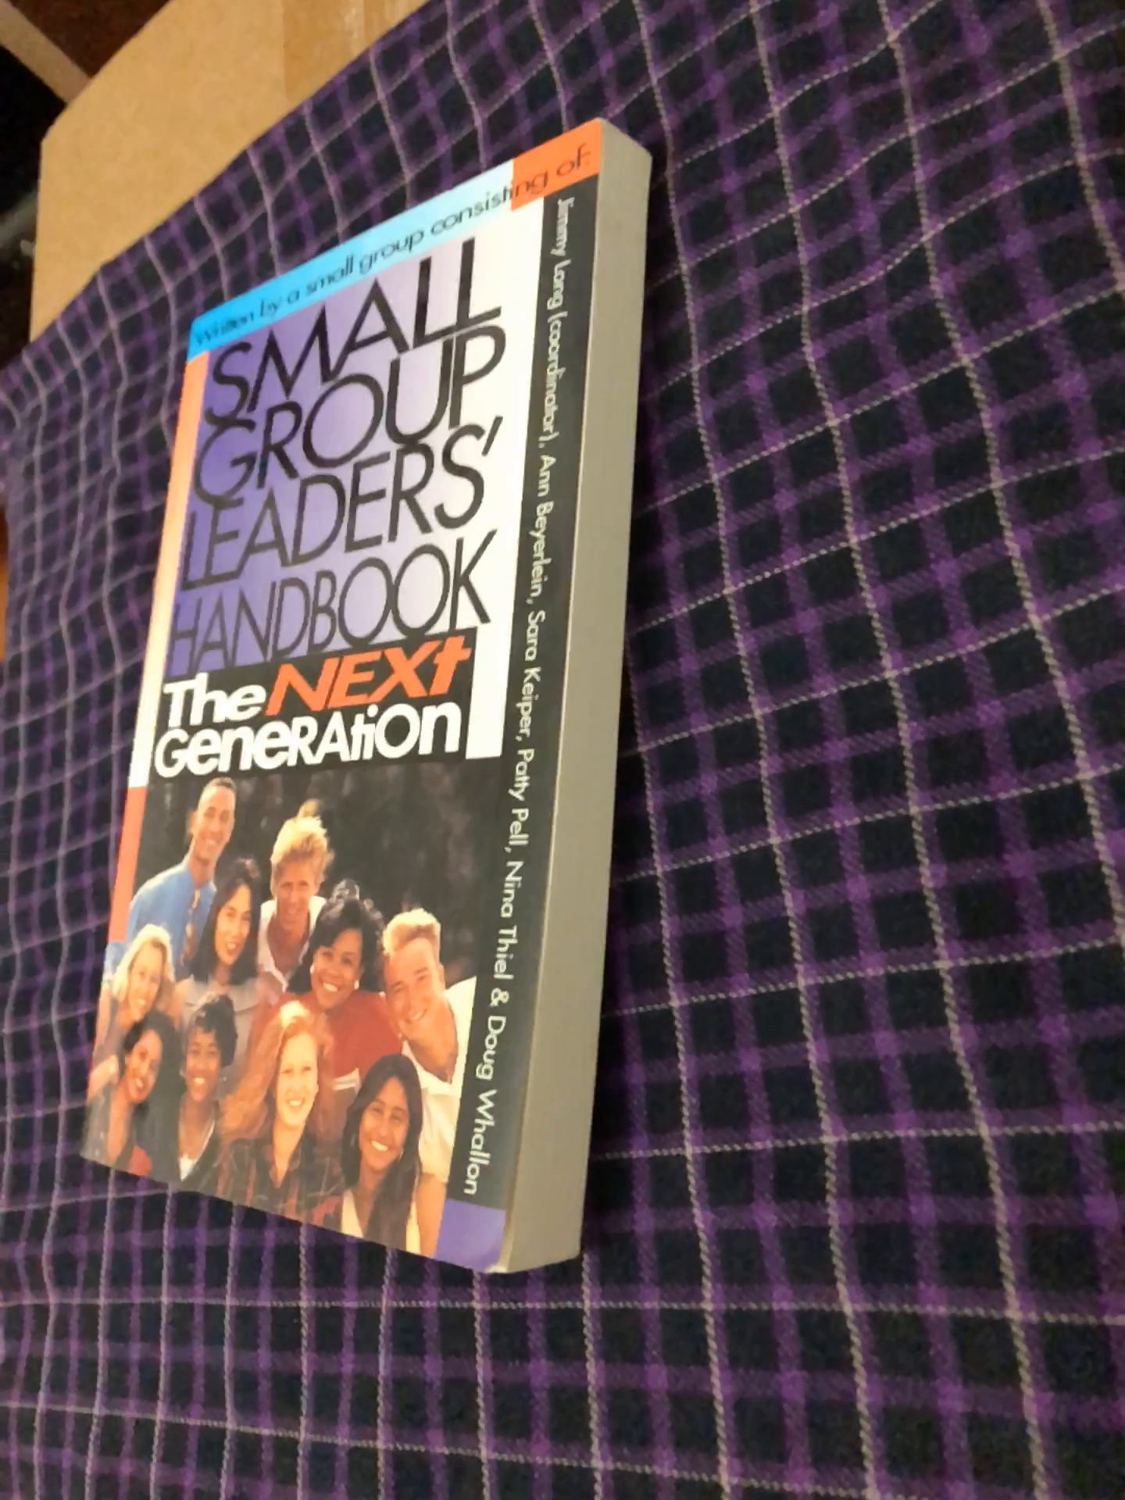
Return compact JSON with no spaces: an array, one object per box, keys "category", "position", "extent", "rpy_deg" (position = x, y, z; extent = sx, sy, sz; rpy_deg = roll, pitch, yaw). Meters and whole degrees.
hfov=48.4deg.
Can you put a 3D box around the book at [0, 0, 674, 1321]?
[{"category":"book","position":[-0.052,-0.017,0.261],"extent":[0.151,0.030,0.220],"rpy_deg":[-6,75,40]}]
